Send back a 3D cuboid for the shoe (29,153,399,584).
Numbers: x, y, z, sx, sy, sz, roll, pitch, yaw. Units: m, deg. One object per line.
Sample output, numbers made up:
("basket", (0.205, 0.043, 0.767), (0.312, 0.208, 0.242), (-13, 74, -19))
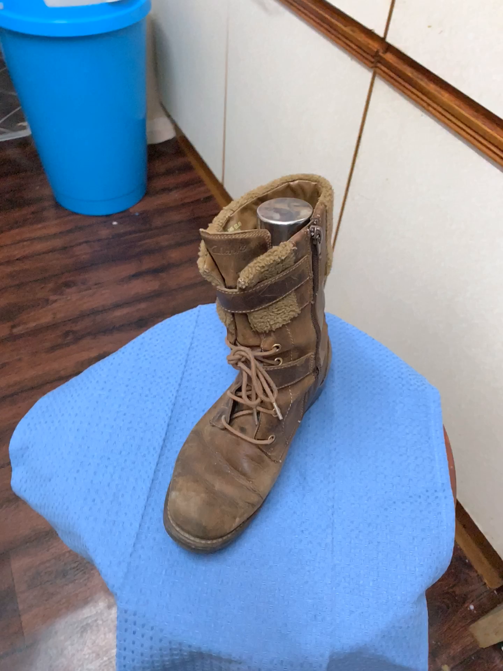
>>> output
("shoe", (-0.005, 0.022, 0.431), (0.120, 0.228, 0.251), (26, 53, 26))
